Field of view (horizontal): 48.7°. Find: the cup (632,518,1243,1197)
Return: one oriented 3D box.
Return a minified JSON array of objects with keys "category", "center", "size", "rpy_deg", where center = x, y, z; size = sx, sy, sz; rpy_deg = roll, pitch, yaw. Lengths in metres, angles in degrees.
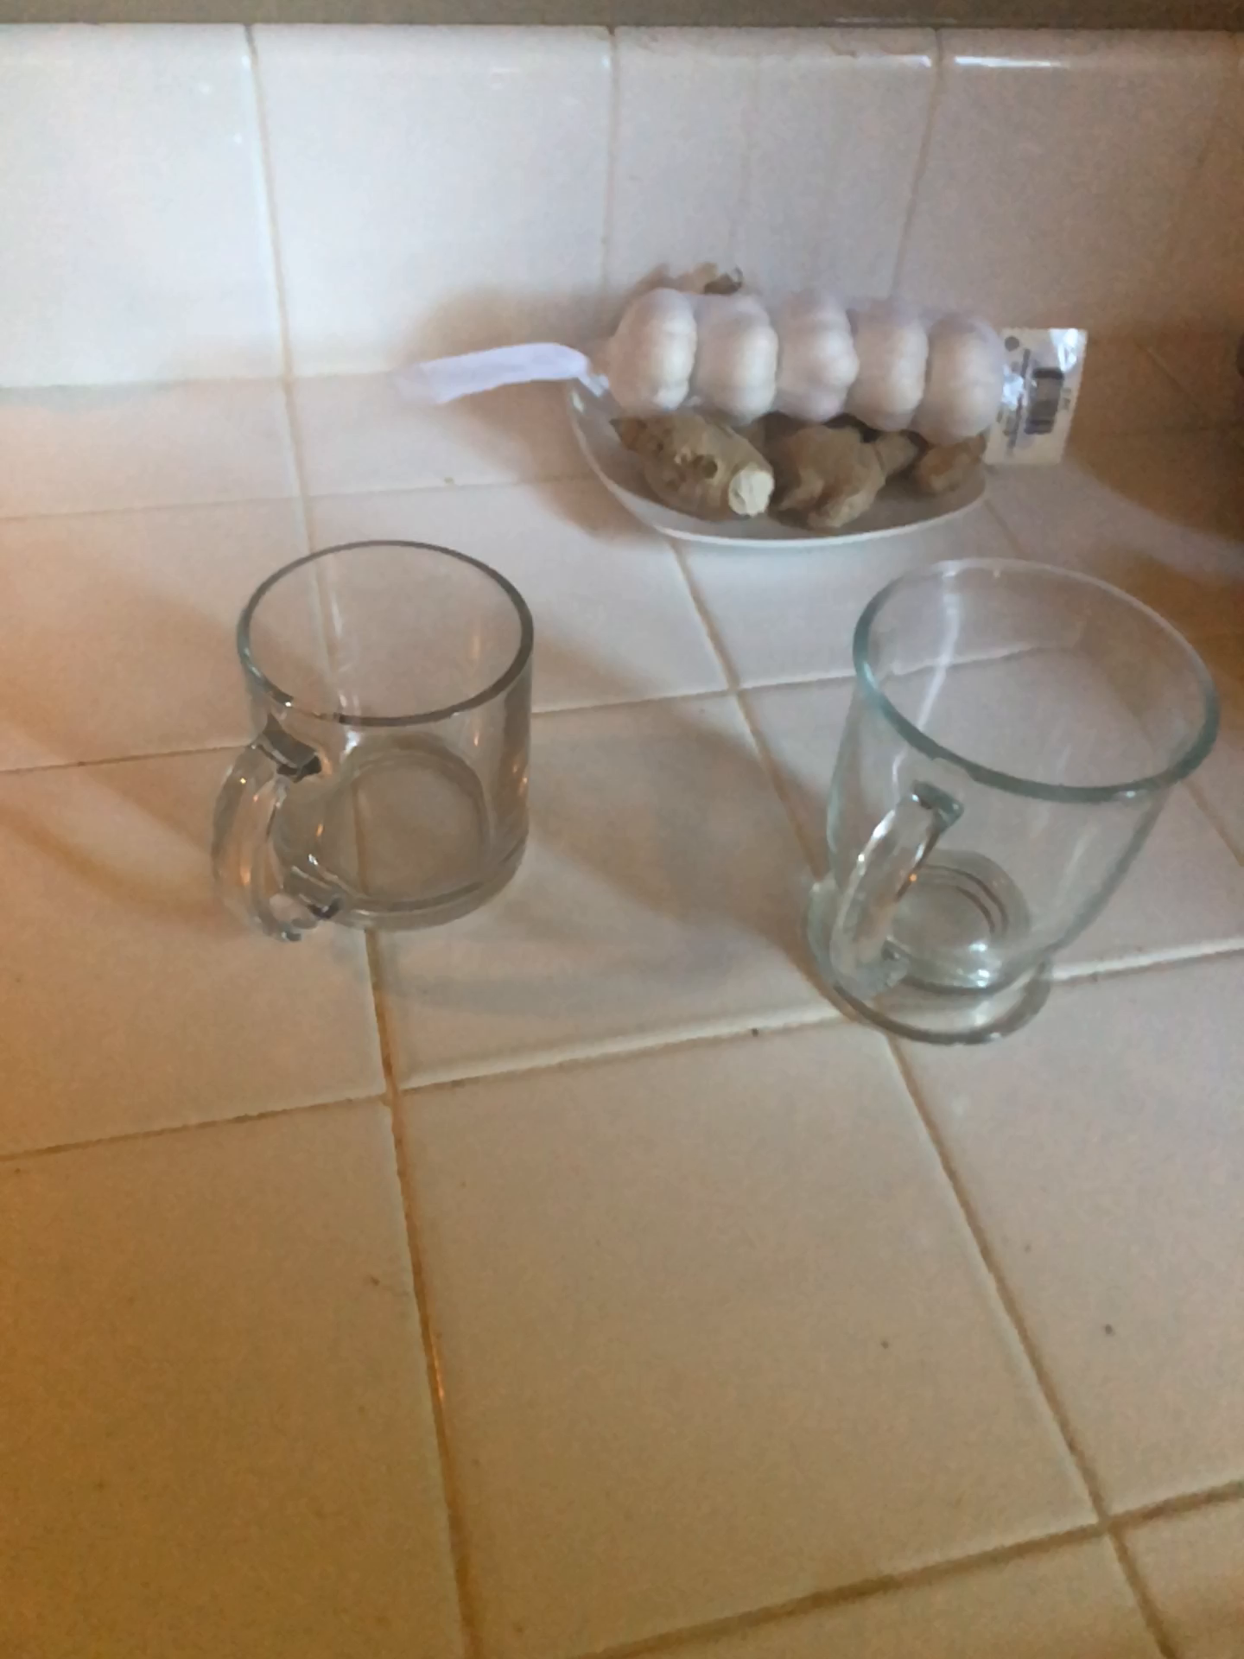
[{"category":"cup","center":[0.086,0.005,0.389],"size":[0.131,0.119,0.090],"rpy_deg":[-31,57,-29]}]

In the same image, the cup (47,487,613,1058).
[{"category":"cup","center":[-0.082,-0.022,0.420],"size":[0.090,0.089,0.131],"rpy_deg":[33,52,22]}]
